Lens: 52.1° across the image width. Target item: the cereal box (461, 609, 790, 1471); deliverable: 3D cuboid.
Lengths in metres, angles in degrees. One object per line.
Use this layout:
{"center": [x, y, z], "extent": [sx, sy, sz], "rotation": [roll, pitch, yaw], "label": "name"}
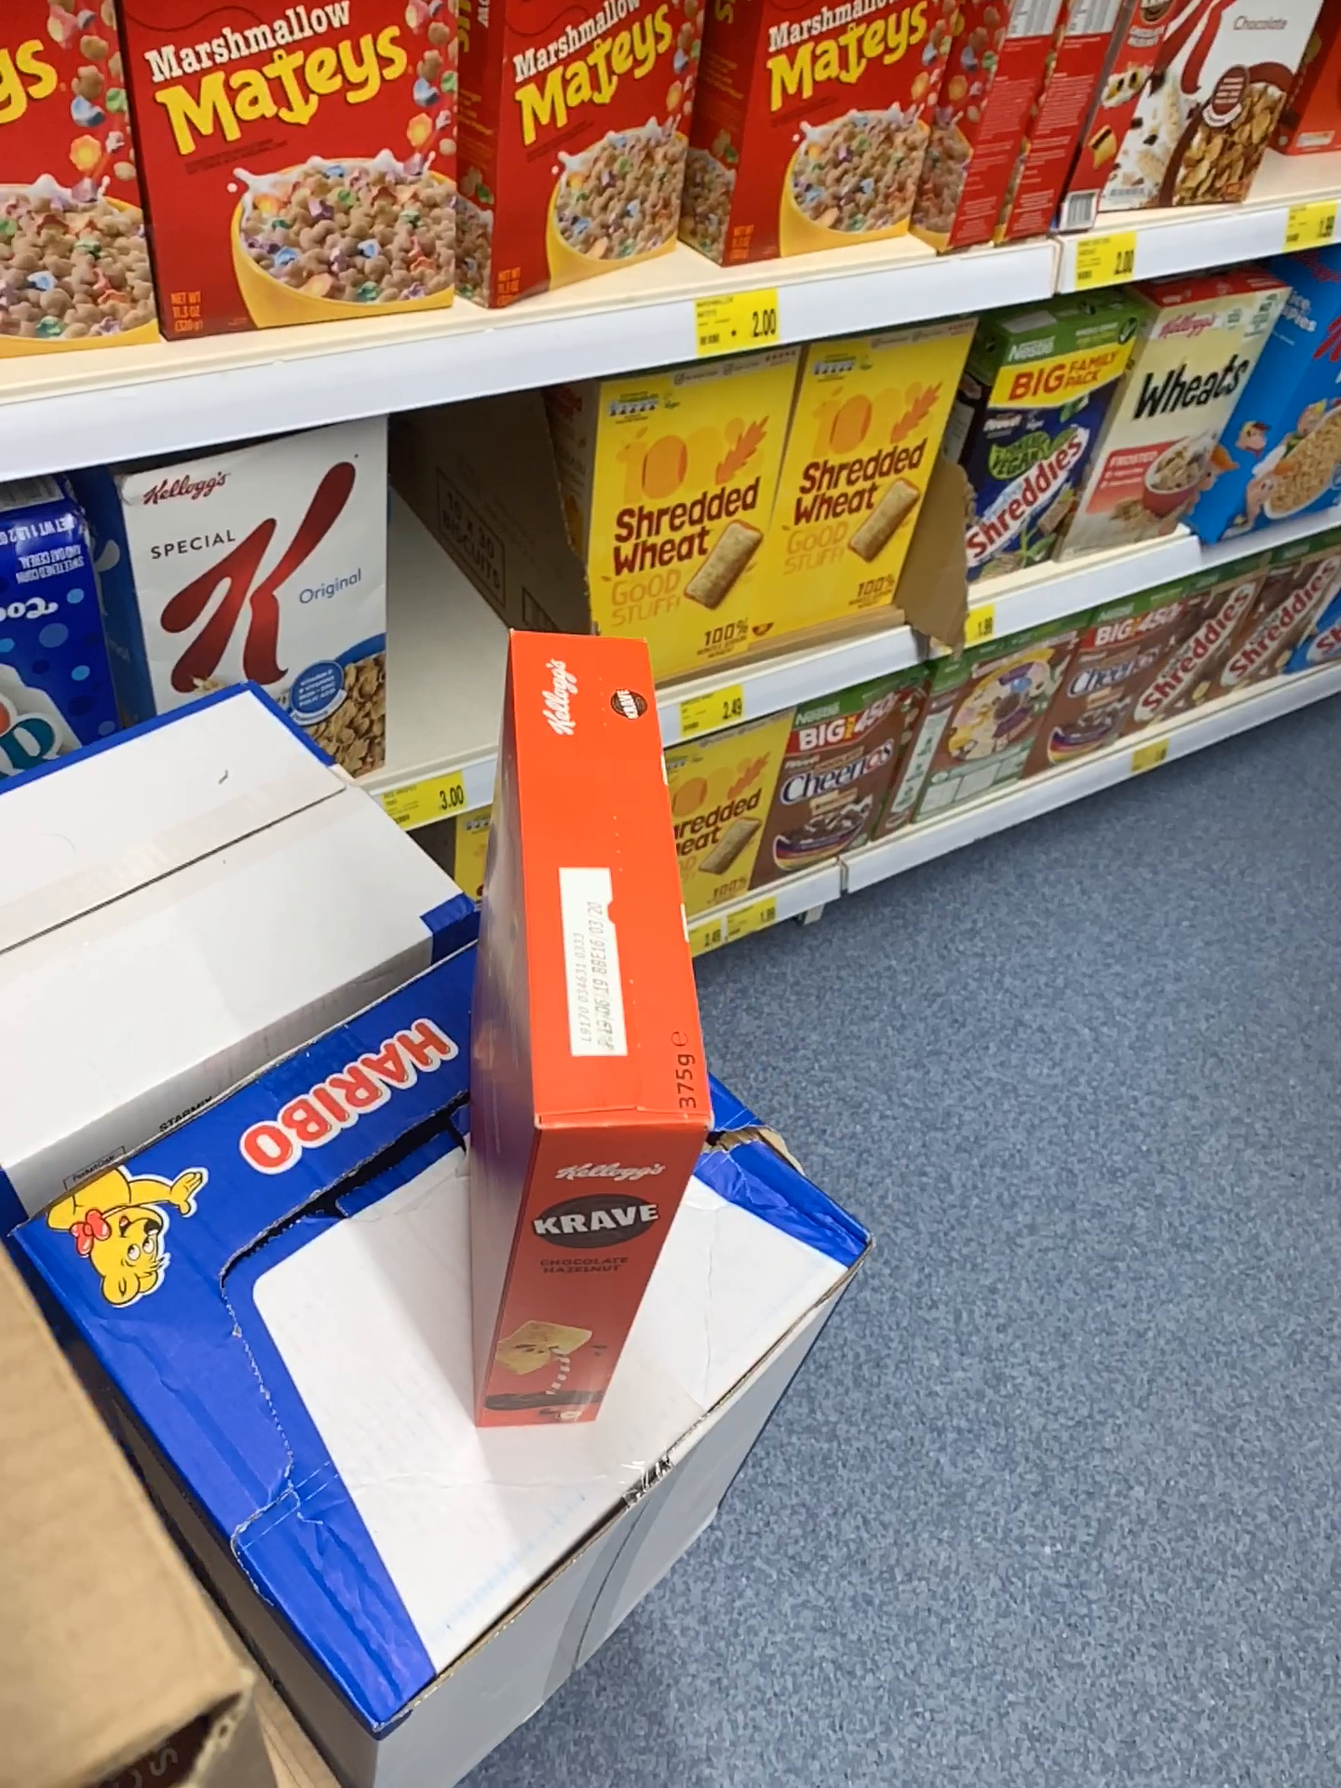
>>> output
{"center": [-0.033, 0.060, 0.485], "extent": [0.060, 0.238, 0.202], "rotation": [2, 51, -12], "label": "cereal box"}
